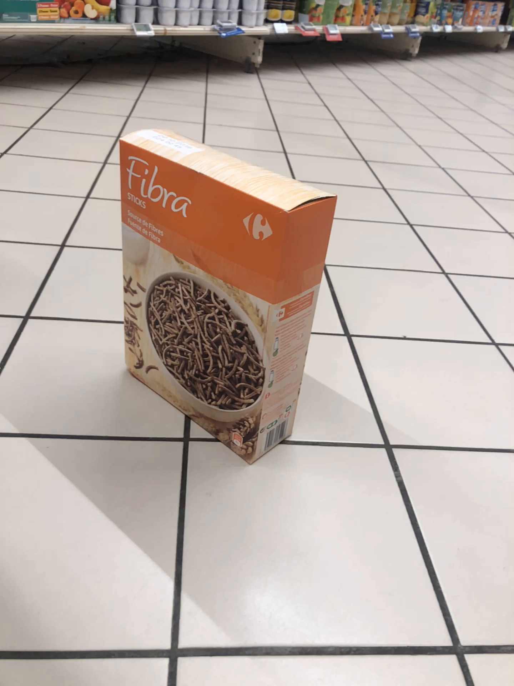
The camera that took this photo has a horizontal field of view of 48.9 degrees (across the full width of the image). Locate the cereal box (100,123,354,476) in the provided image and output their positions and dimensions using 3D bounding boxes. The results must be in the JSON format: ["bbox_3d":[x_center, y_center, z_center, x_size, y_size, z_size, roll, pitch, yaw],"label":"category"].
[{"bbox_3d":[-0.042,-0.043,0.502,0.200,0.238,0.080,32,40,32],"label":"cereal box"}]
